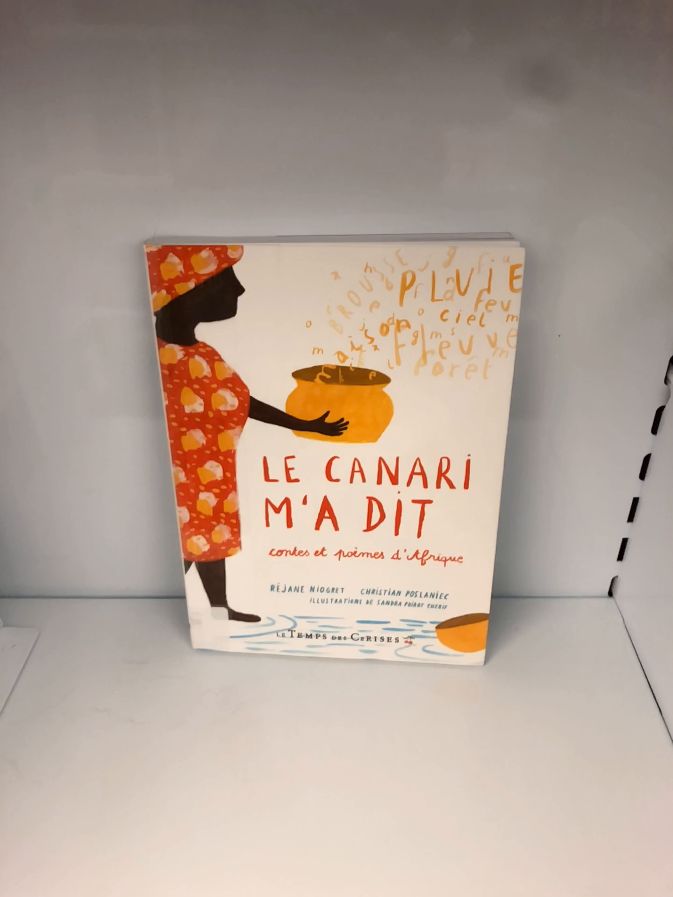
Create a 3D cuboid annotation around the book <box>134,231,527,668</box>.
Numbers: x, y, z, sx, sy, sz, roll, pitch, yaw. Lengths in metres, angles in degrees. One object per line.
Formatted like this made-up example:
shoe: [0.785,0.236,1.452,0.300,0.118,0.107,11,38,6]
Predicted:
book: [-0.002,0.007,0.341,0.149,0.199,0.037,2,26,3]
